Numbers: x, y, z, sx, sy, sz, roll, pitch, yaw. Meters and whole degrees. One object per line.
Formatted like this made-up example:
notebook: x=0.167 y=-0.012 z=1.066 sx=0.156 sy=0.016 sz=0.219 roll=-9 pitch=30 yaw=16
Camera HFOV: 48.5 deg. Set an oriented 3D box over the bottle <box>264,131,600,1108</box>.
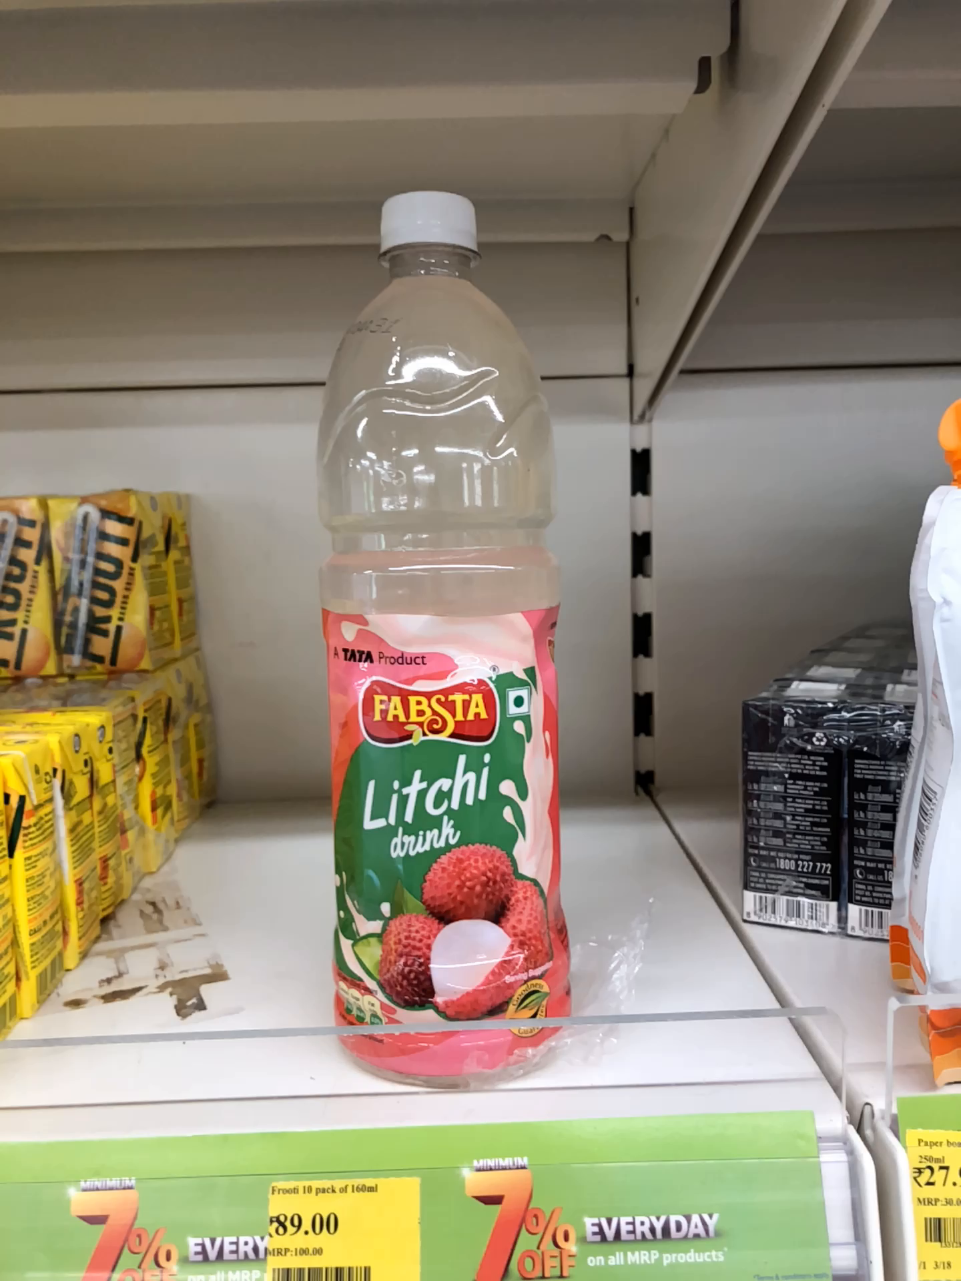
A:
bottle: x=-0.008 y=-0.003 z=0.334 sx=0.080 sy=0.269 sz=0.070 roll=-1 pitch=8 yaw=11
